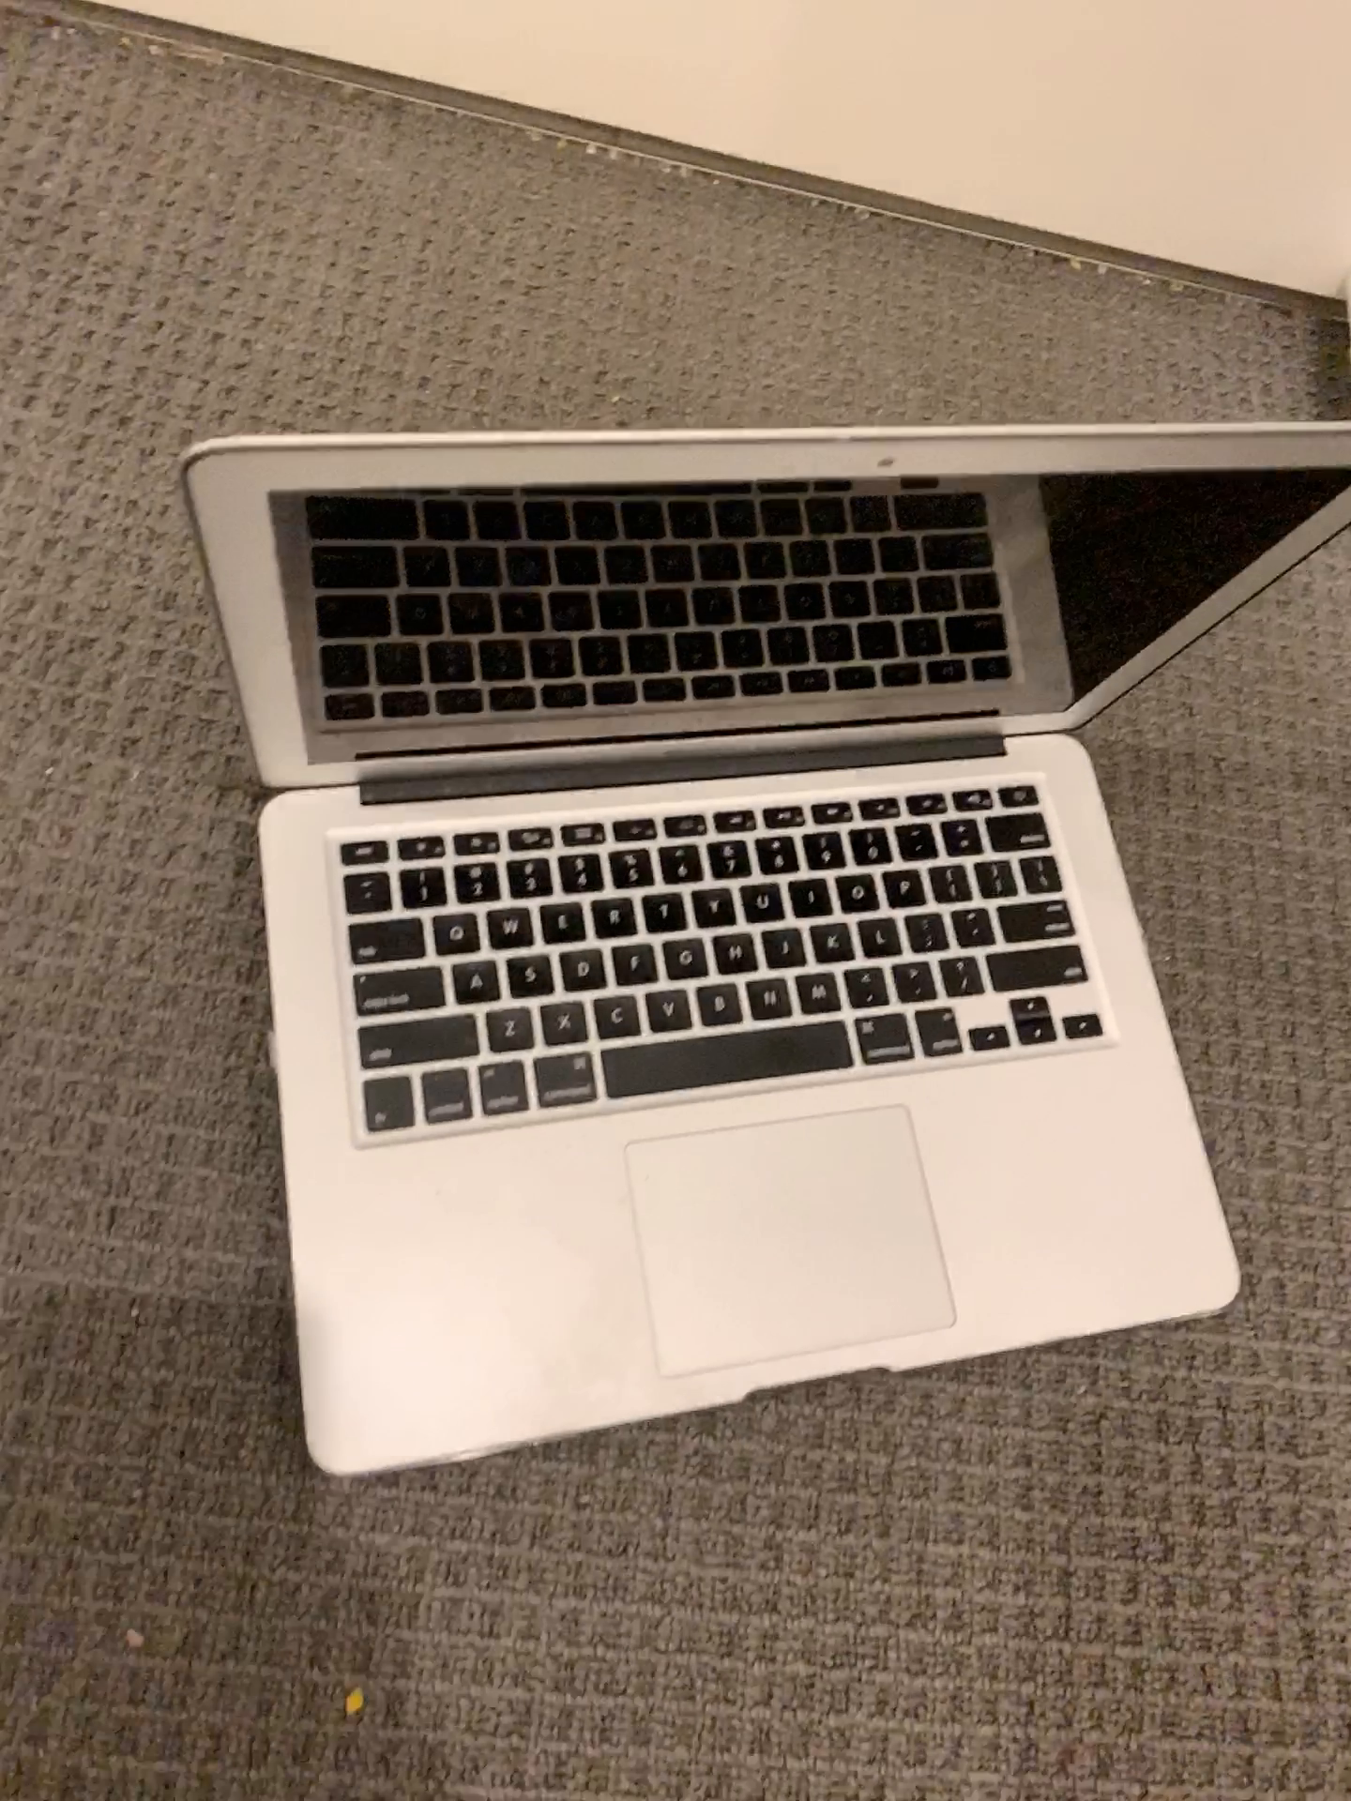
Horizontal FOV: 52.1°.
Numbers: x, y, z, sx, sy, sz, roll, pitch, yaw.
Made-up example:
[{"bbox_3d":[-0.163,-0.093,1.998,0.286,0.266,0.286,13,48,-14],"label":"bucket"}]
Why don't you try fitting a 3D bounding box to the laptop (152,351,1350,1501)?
[{"bbox_3d":[0.045,0.013,0.393,0.322,0.215,0.226,-6,70,-14],"label":"laptop"}]
